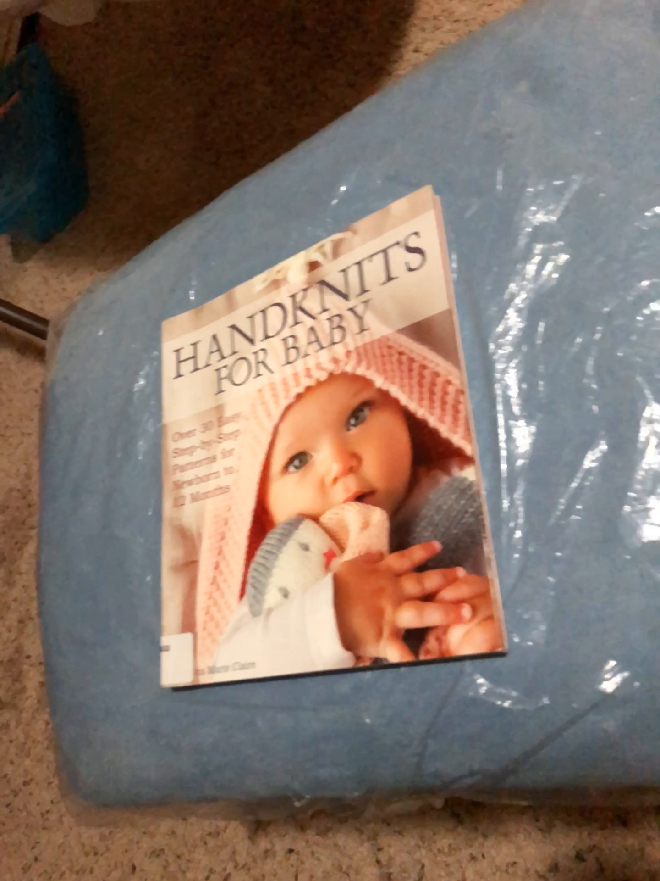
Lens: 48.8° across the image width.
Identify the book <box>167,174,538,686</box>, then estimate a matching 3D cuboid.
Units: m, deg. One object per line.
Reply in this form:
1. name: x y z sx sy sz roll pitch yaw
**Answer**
1. book: -0.009 0.003 0.376 0.197 0.020 0.220 -18 67 33
